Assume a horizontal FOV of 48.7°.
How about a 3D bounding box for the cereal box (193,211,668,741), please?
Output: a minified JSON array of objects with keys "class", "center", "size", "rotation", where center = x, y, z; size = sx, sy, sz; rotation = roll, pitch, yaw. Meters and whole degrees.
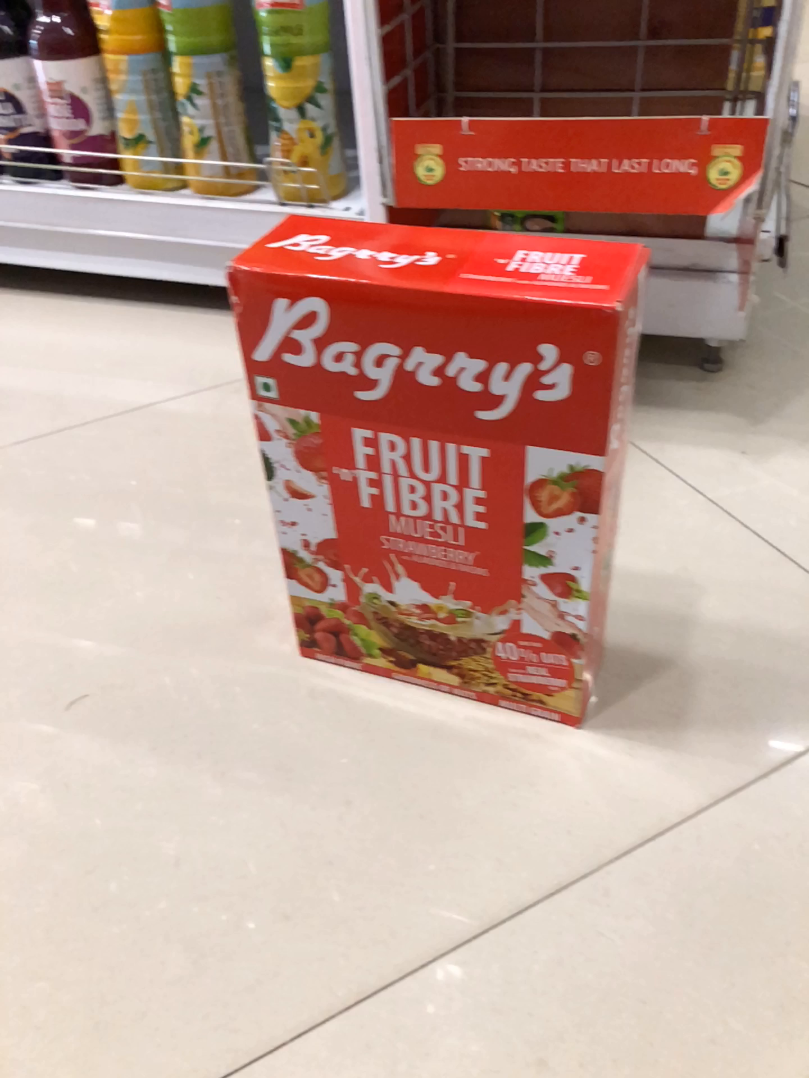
[{"class":"cereal box","center":[0.017,-0.027,0.479],"size":[0.200,0.258,0.070],"rotation":[11,41,19]}]
